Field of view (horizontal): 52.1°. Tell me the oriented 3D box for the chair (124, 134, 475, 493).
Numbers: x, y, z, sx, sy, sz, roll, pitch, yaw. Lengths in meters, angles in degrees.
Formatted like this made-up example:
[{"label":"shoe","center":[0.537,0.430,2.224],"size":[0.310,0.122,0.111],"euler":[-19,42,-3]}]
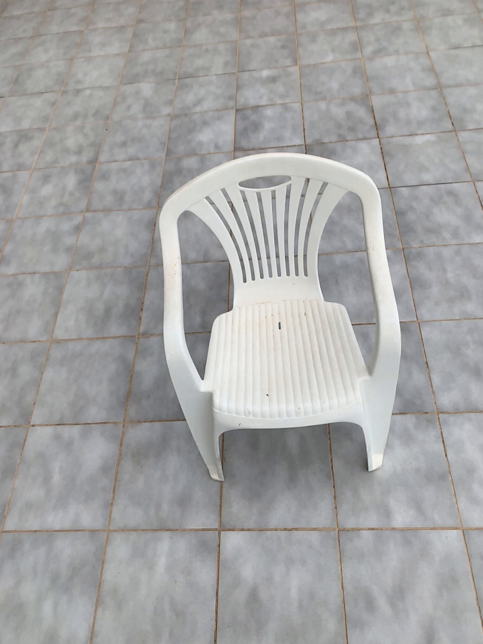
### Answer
[{"label":"chair","center":[0.111,0.028,1.234],"size":[0.570,0.668,0.562],"euler":[-6,56,4]}]
